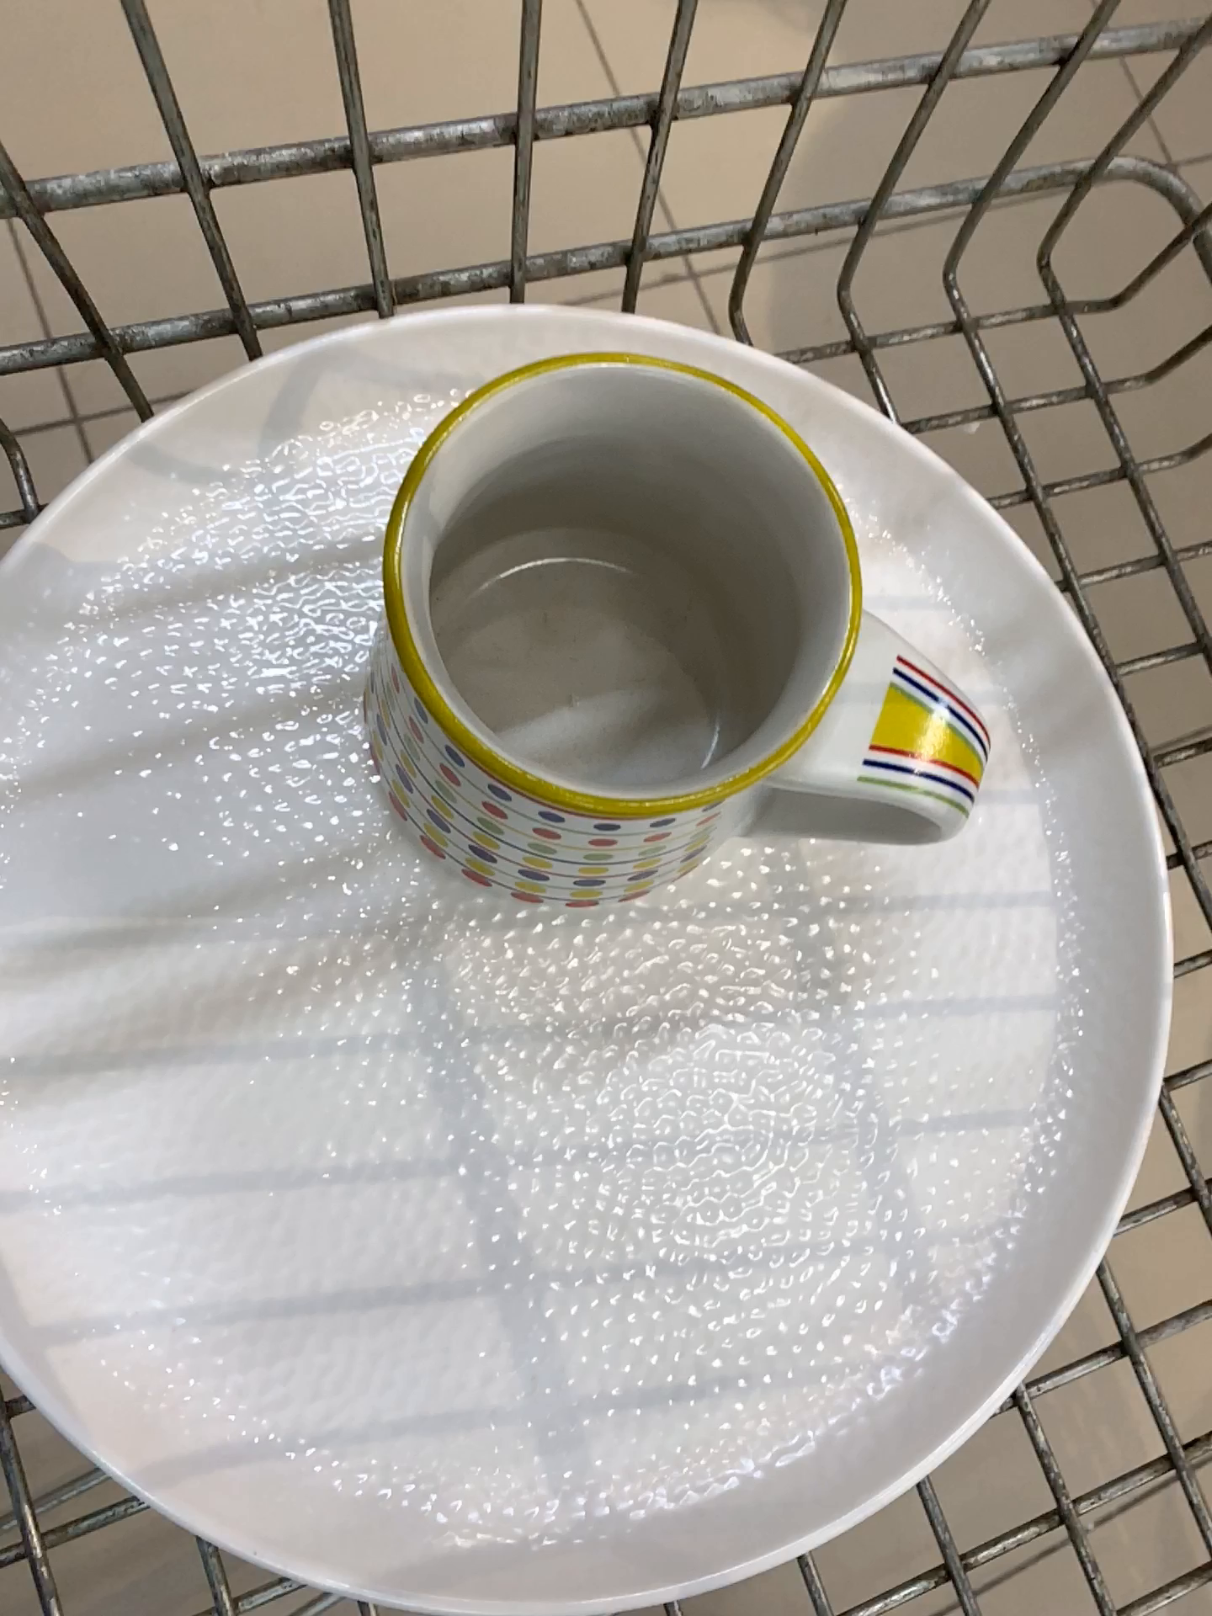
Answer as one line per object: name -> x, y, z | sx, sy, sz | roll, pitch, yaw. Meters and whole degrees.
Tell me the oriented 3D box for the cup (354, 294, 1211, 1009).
cup -> 0.022, -0.012, 0.213 | 0.120, 0.100, 0.080 | 5, 77, -10
